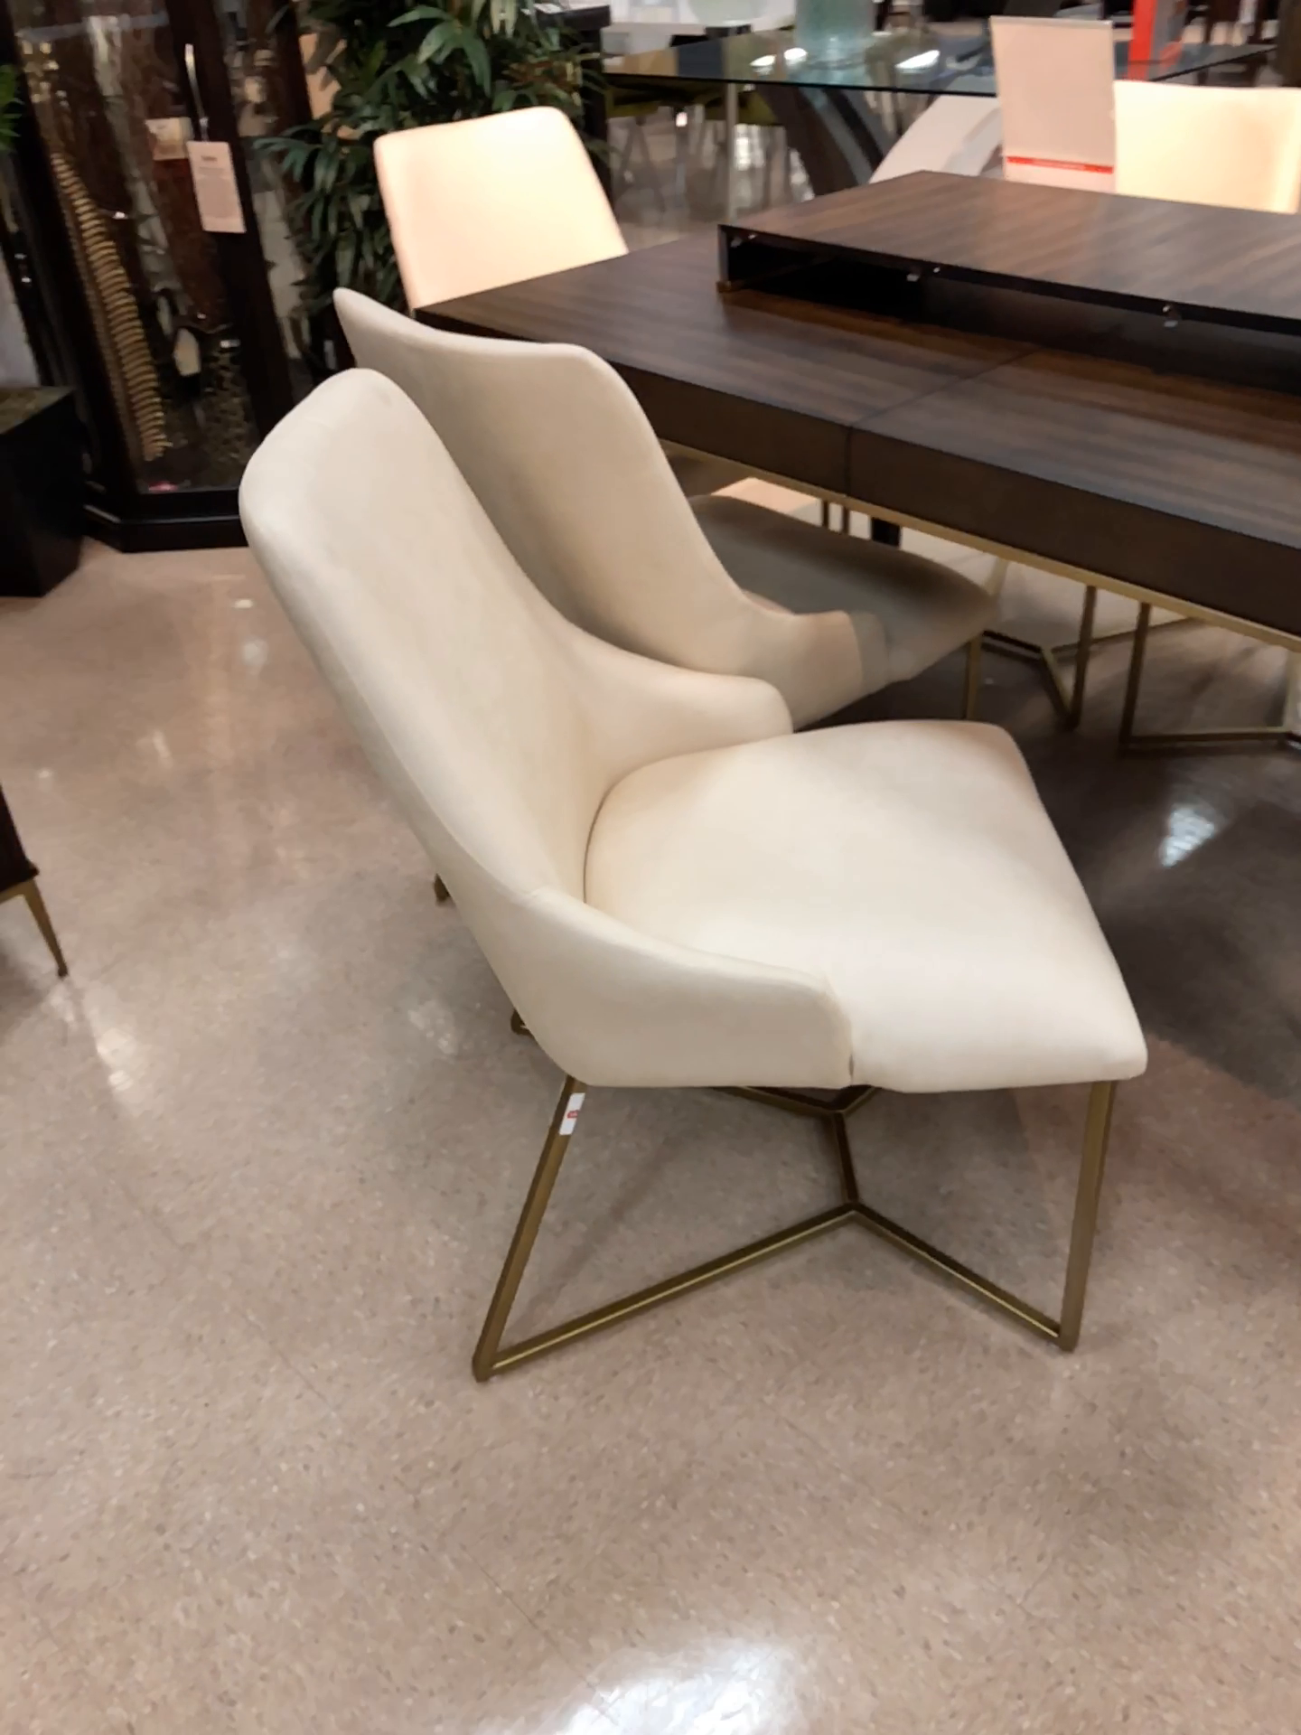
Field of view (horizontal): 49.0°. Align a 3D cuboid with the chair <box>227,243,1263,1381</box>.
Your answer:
[{"bbox_3d":[0.083,-0.035,1.361,0.640,0.904,0.544,-2,34,2],"label":"chair"}]
